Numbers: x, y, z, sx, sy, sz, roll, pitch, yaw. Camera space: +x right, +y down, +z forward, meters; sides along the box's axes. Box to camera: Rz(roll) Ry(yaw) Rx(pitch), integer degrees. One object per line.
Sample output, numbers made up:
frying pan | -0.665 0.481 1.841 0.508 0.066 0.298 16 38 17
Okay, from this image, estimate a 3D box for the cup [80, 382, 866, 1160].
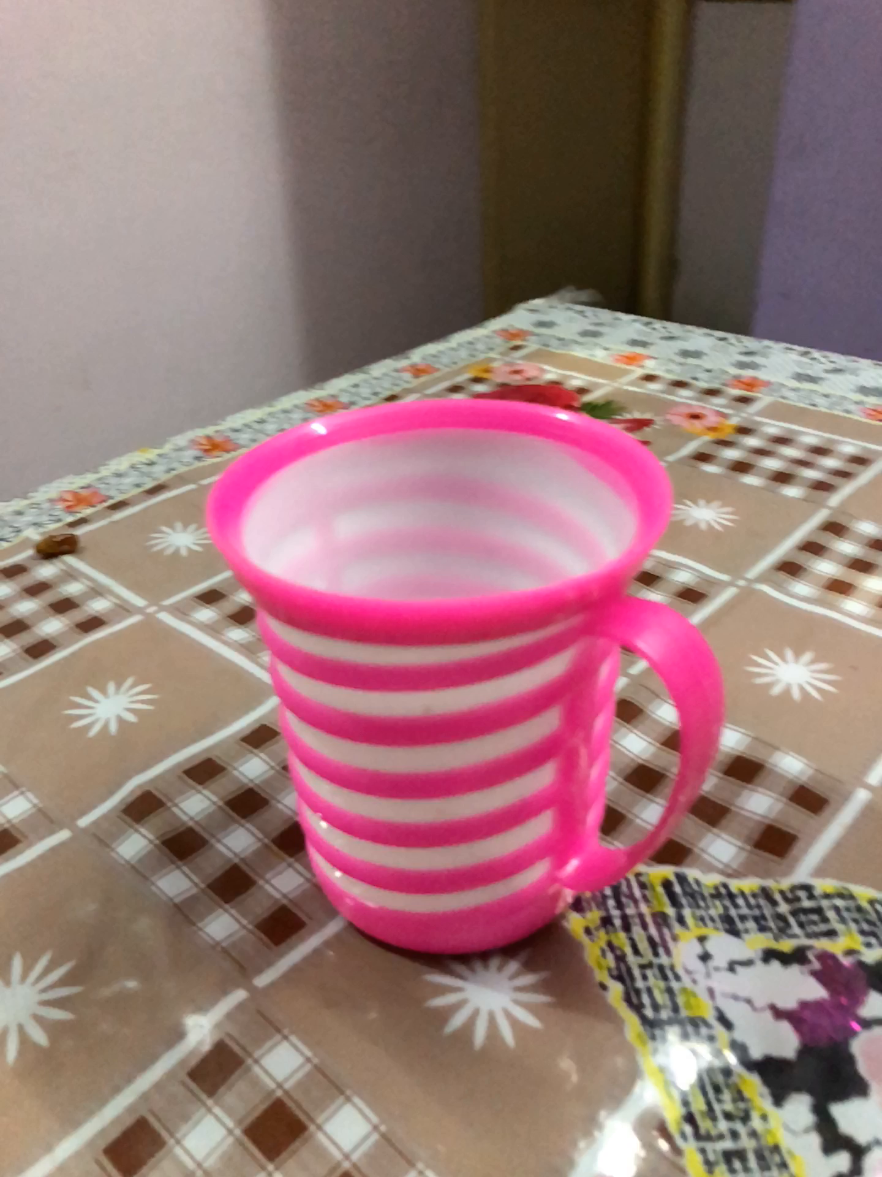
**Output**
cup | 0.009 0.023 0.190 0.110 0.089 0.080 15 35 26
